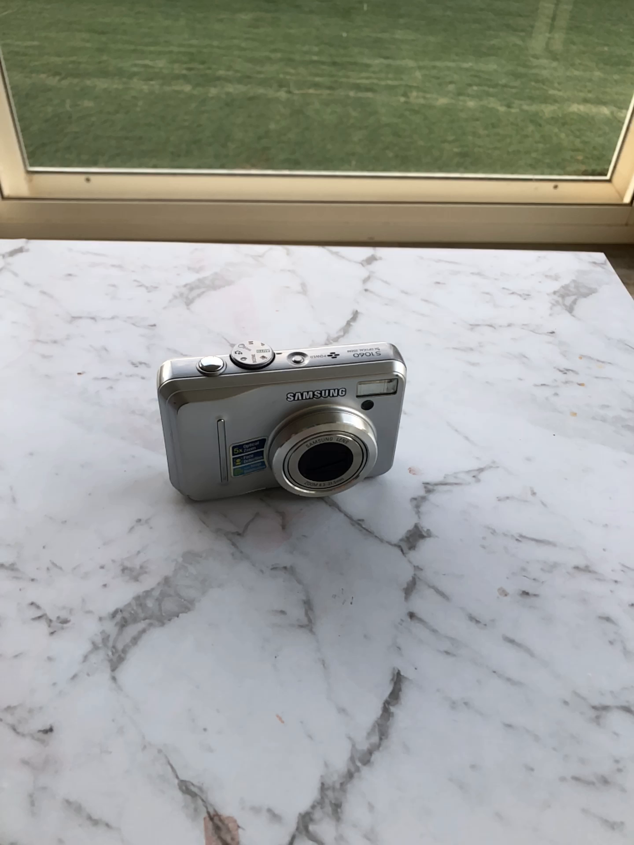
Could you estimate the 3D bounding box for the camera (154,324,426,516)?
[{"bbox_3d":[-0.012,-0.001,0.287,0.099,0.061,0.034,-6,43,-9],"label":"camera"}]
